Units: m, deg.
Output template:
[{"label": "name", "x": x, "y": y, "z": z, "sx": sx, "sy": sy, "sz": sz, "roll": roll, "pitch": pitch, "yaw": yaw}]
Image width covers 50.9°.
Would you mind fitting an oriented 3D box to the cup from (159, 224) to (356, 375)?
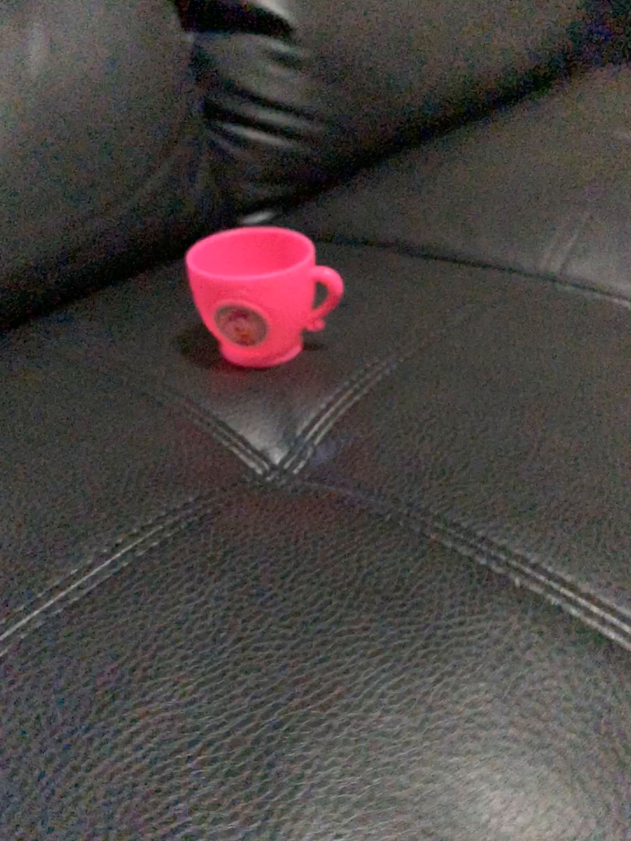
[{"label": "cup", "x": -0.024, "y": -0.060, "z": 0.319, "sx": 0.073, "sy": 0.047, "sz": 0.062, "roll": 6, "pitch": 35, "yaw": 16}]
